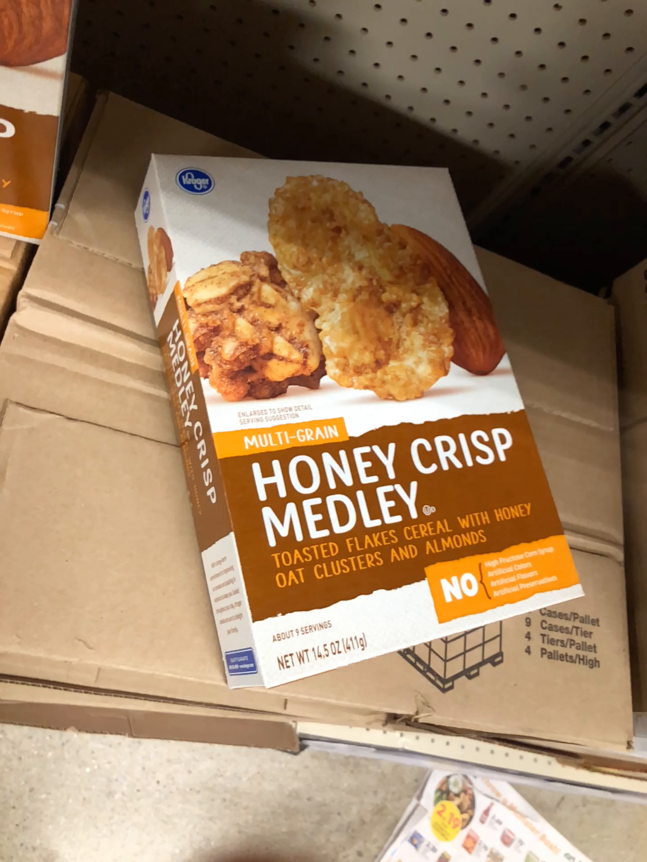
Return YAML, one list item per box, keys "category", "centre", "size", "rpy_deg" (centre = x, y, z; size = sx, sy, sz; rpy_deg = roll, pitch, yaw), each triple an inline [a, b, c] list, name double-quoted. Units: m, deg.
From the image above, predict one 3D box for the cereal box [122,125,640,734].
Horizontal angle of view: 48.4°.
- category: "cereal box"
  centre: [0.026, -0.016, 0.372]
  size: [0.200, 0.060, 0.270]
  rpy_deg: [-8, 76, -27]
